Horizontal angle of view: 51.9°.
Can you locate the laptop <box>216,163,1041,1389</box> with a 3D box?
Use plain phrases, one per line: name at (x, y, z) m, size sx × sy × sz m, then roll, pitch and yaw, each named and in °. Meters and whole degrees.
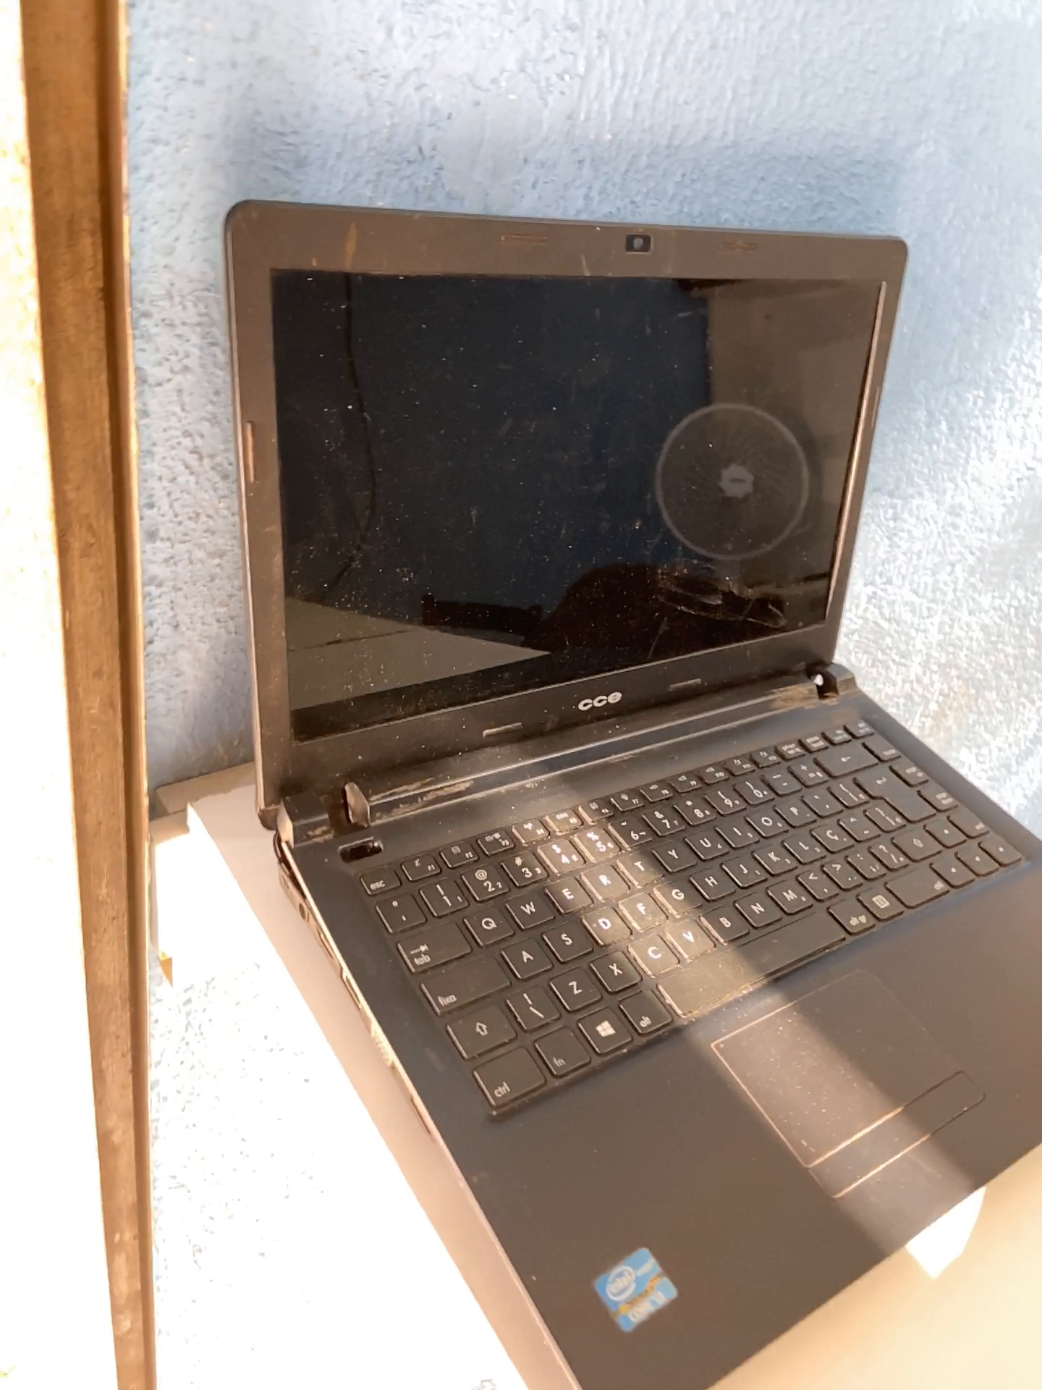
laptop at (0.104, -0.023, 0.406) m, size 0.334 × 0.210 × 0.313 m, roll -12°, pitch 43°, yaw -32°
